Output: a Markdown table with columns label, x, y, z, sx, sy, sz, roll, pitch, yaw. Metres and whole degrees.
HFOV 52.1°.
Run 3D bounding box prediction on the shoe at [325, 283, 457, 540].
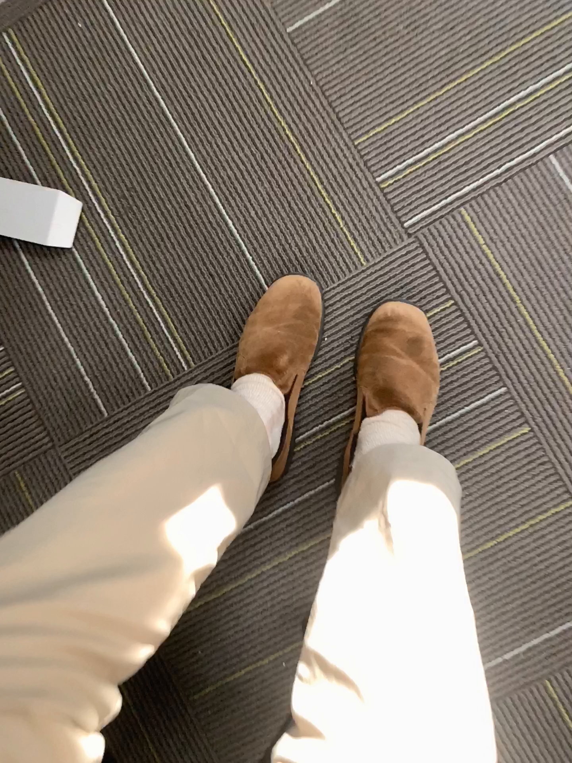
| label | x | y | z | sx | sy | sz | roll | pitch | yaw |
| --- | --- | --- | --- | --- | --- | --- | --- | --- | --- |
| shoe | 0.136 | 0.036 | 0.773 | 0.120 | 0.077 | 0.307 | 9 | 90 | 8 |

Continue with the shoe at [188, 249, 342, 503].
| label | x | y | z | sx | sy | sz | roll | pitch | yaw |
| --- | --- | --- | --- | --- | --- | --- | --- | --- | --- |
| shoe | -0.025 | -0.008 | 0.792 | 0.119 | 0.077 | 0.307 | 16 | 91 | 8 |
